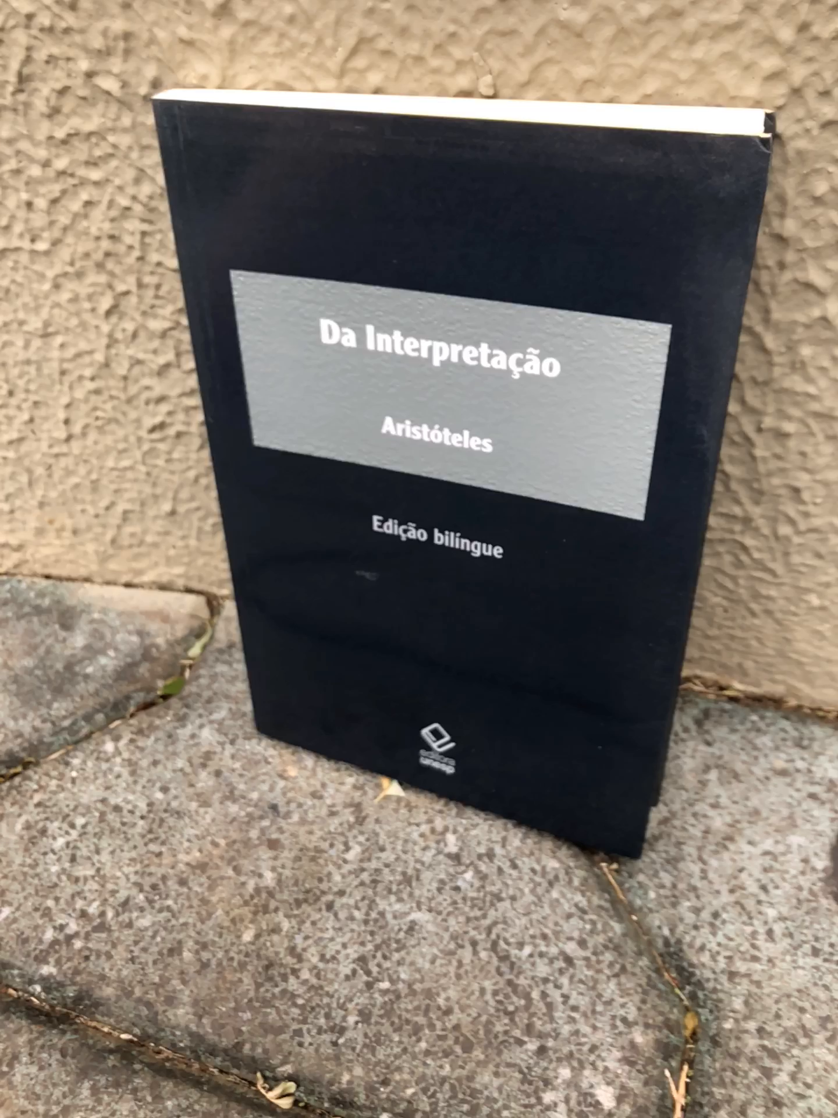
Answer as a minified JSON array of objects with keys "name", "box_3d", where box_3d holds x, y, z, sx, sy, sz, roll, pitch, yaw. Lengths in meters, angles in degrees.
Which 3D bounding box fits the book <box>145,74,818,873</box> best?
[{"name":"book","box_3d":[0.009,-0.014,0.240,0.132,0.187,0.030,14,37,21]}]
